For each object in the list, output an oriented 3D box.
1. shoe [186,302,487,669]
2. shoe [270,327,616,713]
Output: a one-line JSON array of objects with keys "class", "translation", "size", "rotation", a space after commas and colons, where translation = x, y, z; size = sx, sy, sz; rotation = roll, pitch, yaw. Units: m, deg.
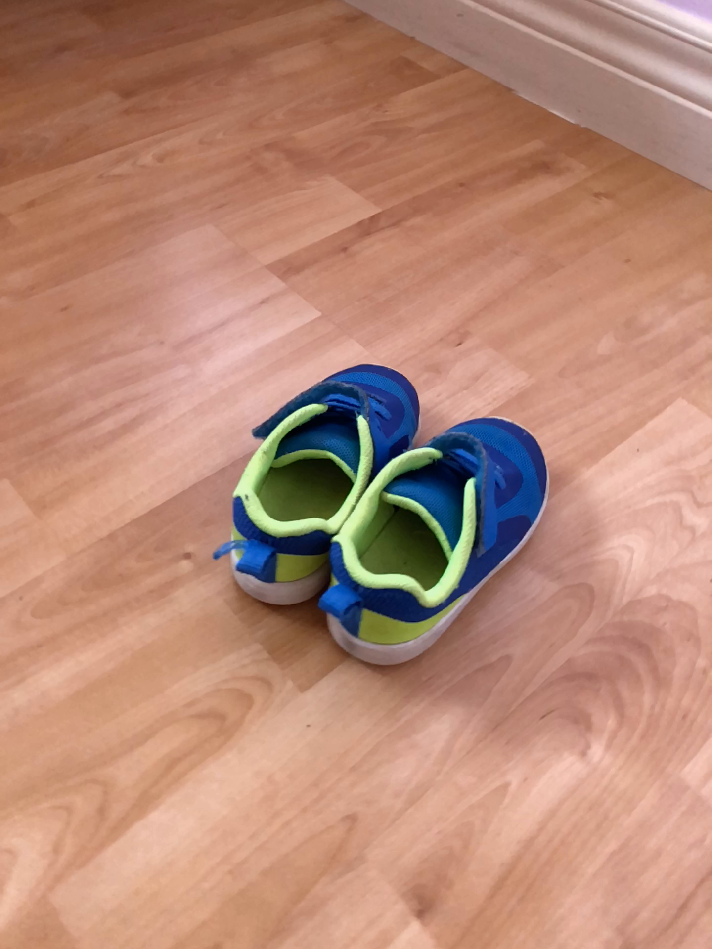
[{"class": "shoe", "translation": [-0.003, -0.002, 0.393], "size": [0.080, 0.070, 0.161], "rotation": [21, 52, 13]}, {"class": "shoe", "translation": [0.043, 0.014, 0.372], "size": [0.080, 0.070, 0.160], "rotation": [31, 55, 20]}]
